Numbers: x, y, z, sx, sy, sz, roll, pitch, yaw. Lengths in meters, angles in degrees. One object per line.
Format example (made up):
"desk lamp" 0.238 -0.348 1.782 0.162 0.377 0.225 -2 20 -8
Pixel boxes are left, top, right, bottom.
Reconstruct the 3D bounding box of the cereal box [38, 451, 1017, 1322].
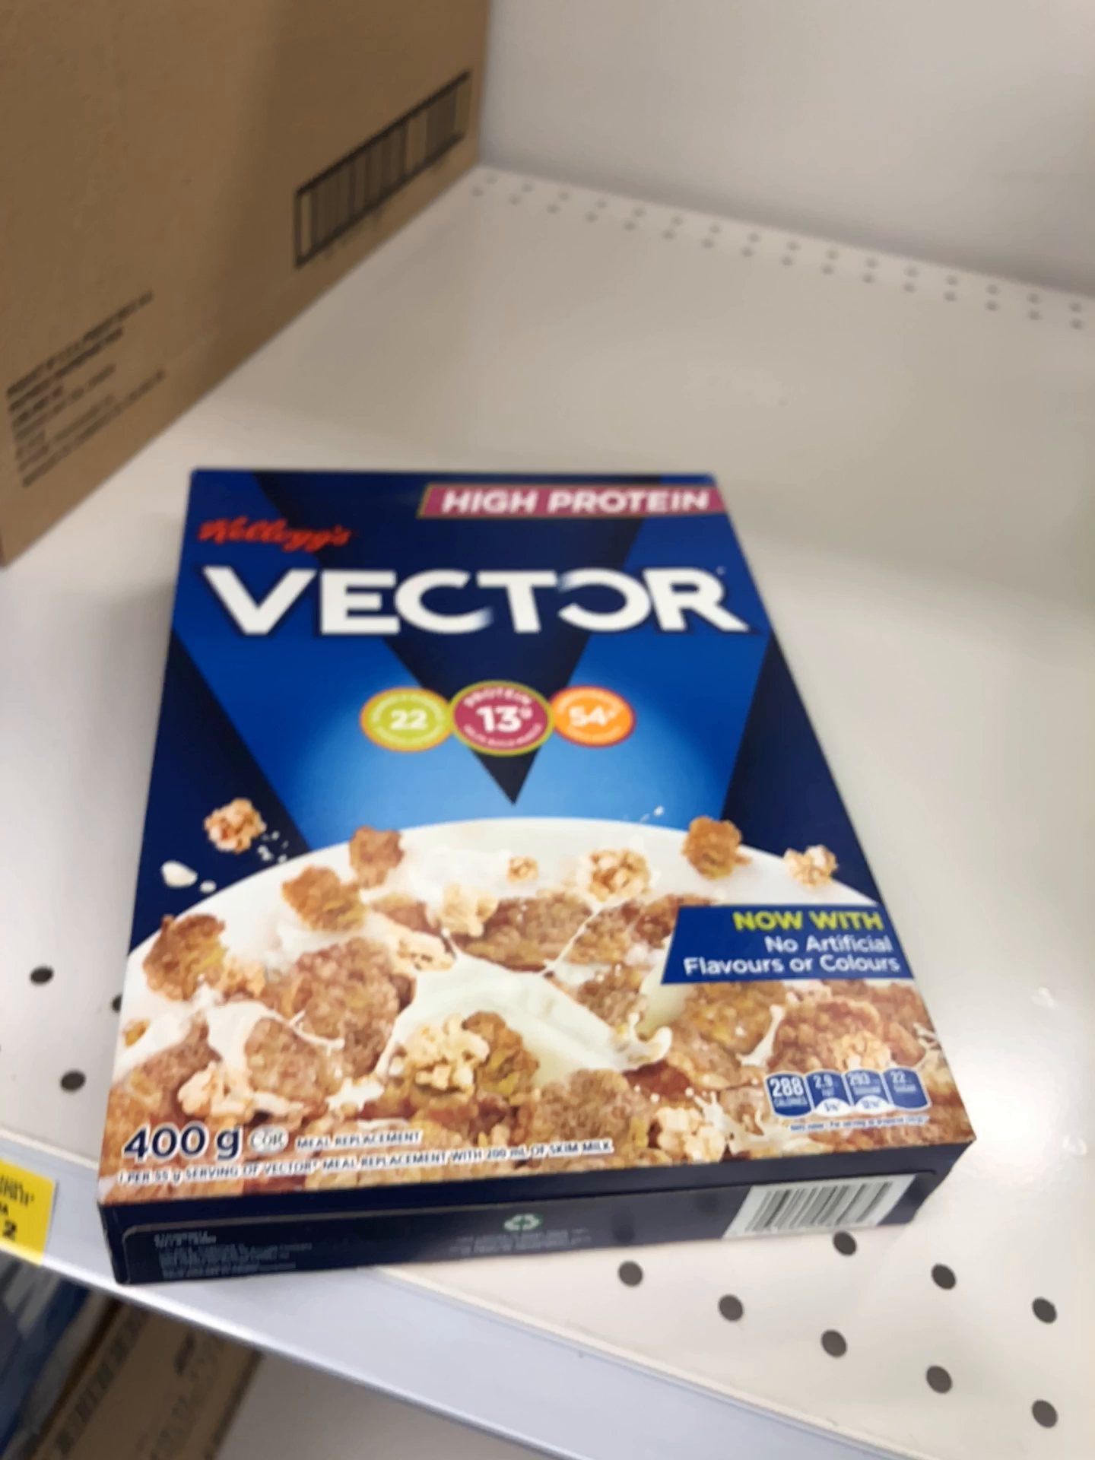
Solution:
"cereal box" -0.021 0.014 0.382 0.210 0.050 0.291 0 42 -11
